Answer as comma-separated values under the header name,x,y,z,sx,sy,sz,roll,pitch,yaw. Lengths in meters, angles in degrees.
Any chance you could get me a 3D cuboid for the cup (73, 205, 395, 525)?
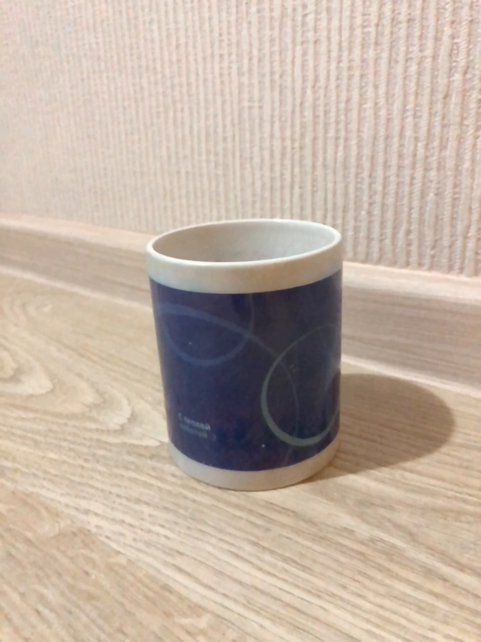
name,x,y,z,sx,sy,sz,roll,pitch,yaw
cup,-0.007,0.005,0.263,0.094,0.099,0.123,-16,24,-33
